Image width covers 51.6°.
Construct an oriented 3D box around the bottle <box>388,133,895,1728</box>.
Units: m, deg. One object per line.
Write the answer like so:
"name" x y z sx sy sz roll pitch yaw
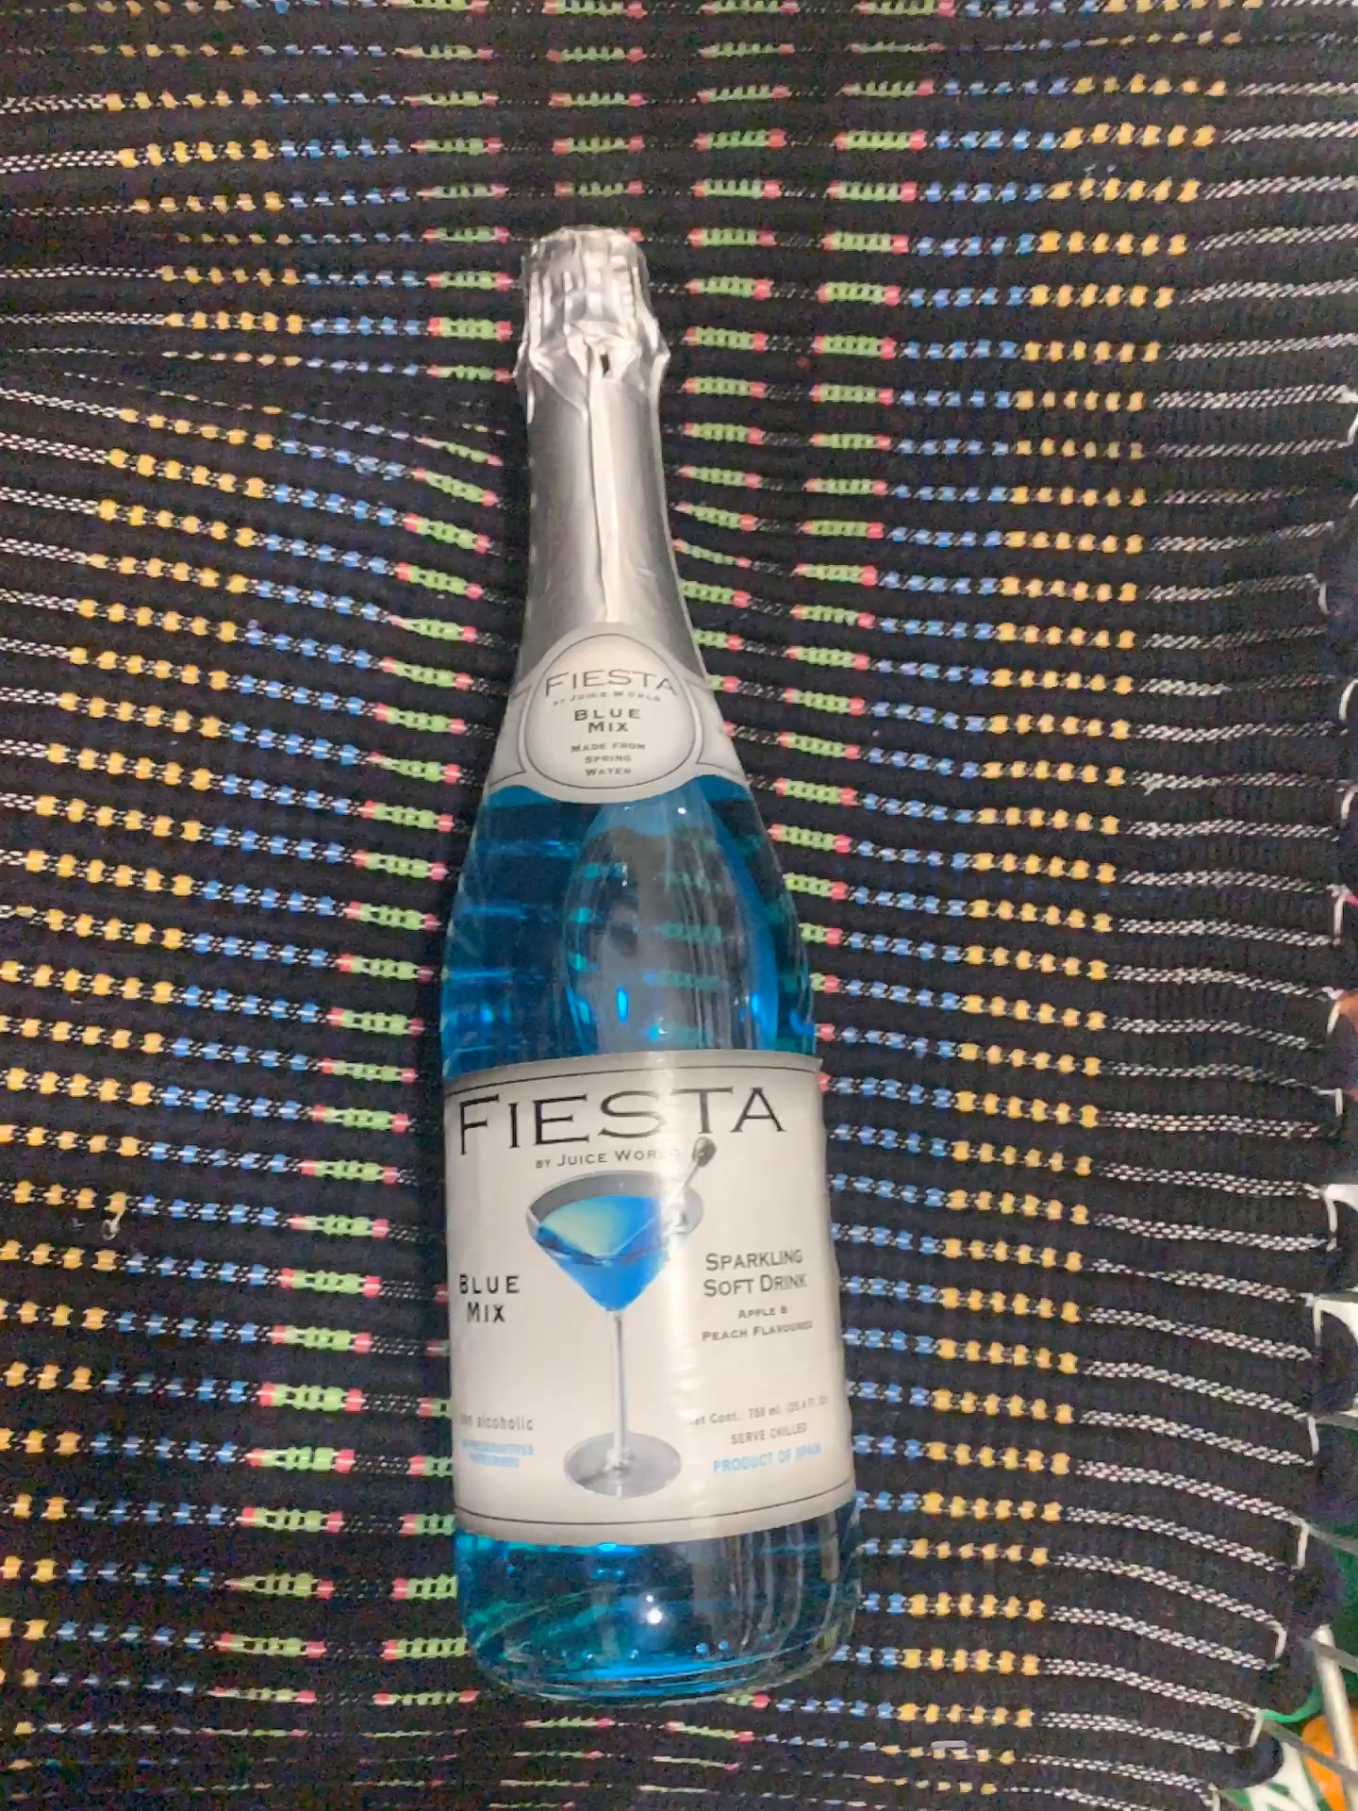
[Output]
"bottle" -0.012 -0.004 0.319 0.080 0.100 0.310 -4 76 1
